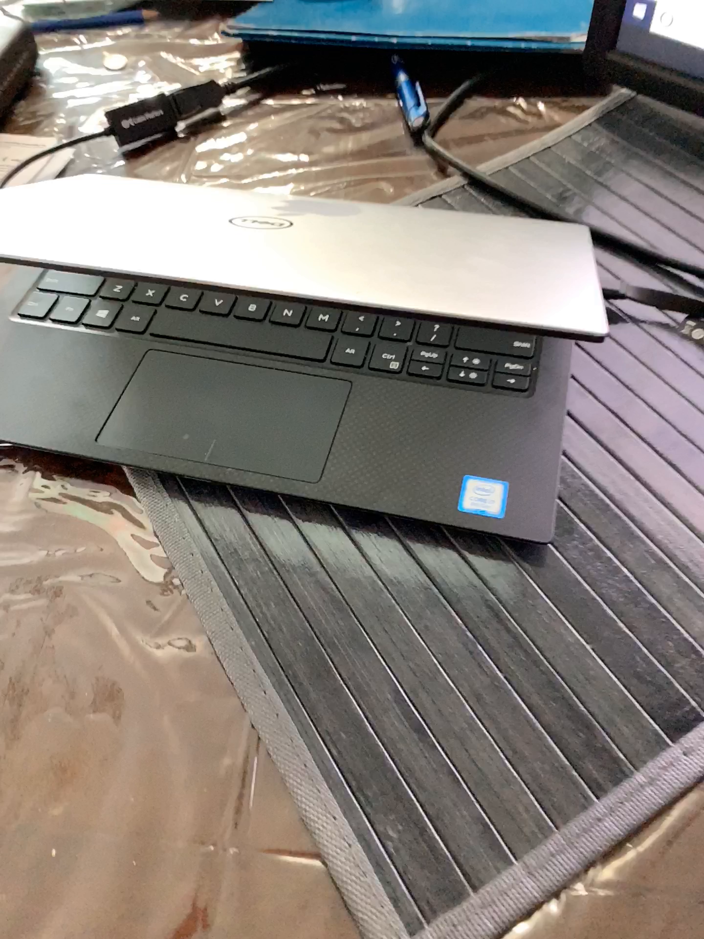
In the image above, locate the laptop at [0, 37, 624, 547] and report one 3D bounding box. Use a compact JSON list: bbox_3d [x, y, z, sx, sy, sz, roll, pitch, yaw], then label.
[{"bbox_3d":[-0.044,-0.095,0.321,0.290,0.085,0.185,11,55,11],"label":"laptop"}]
